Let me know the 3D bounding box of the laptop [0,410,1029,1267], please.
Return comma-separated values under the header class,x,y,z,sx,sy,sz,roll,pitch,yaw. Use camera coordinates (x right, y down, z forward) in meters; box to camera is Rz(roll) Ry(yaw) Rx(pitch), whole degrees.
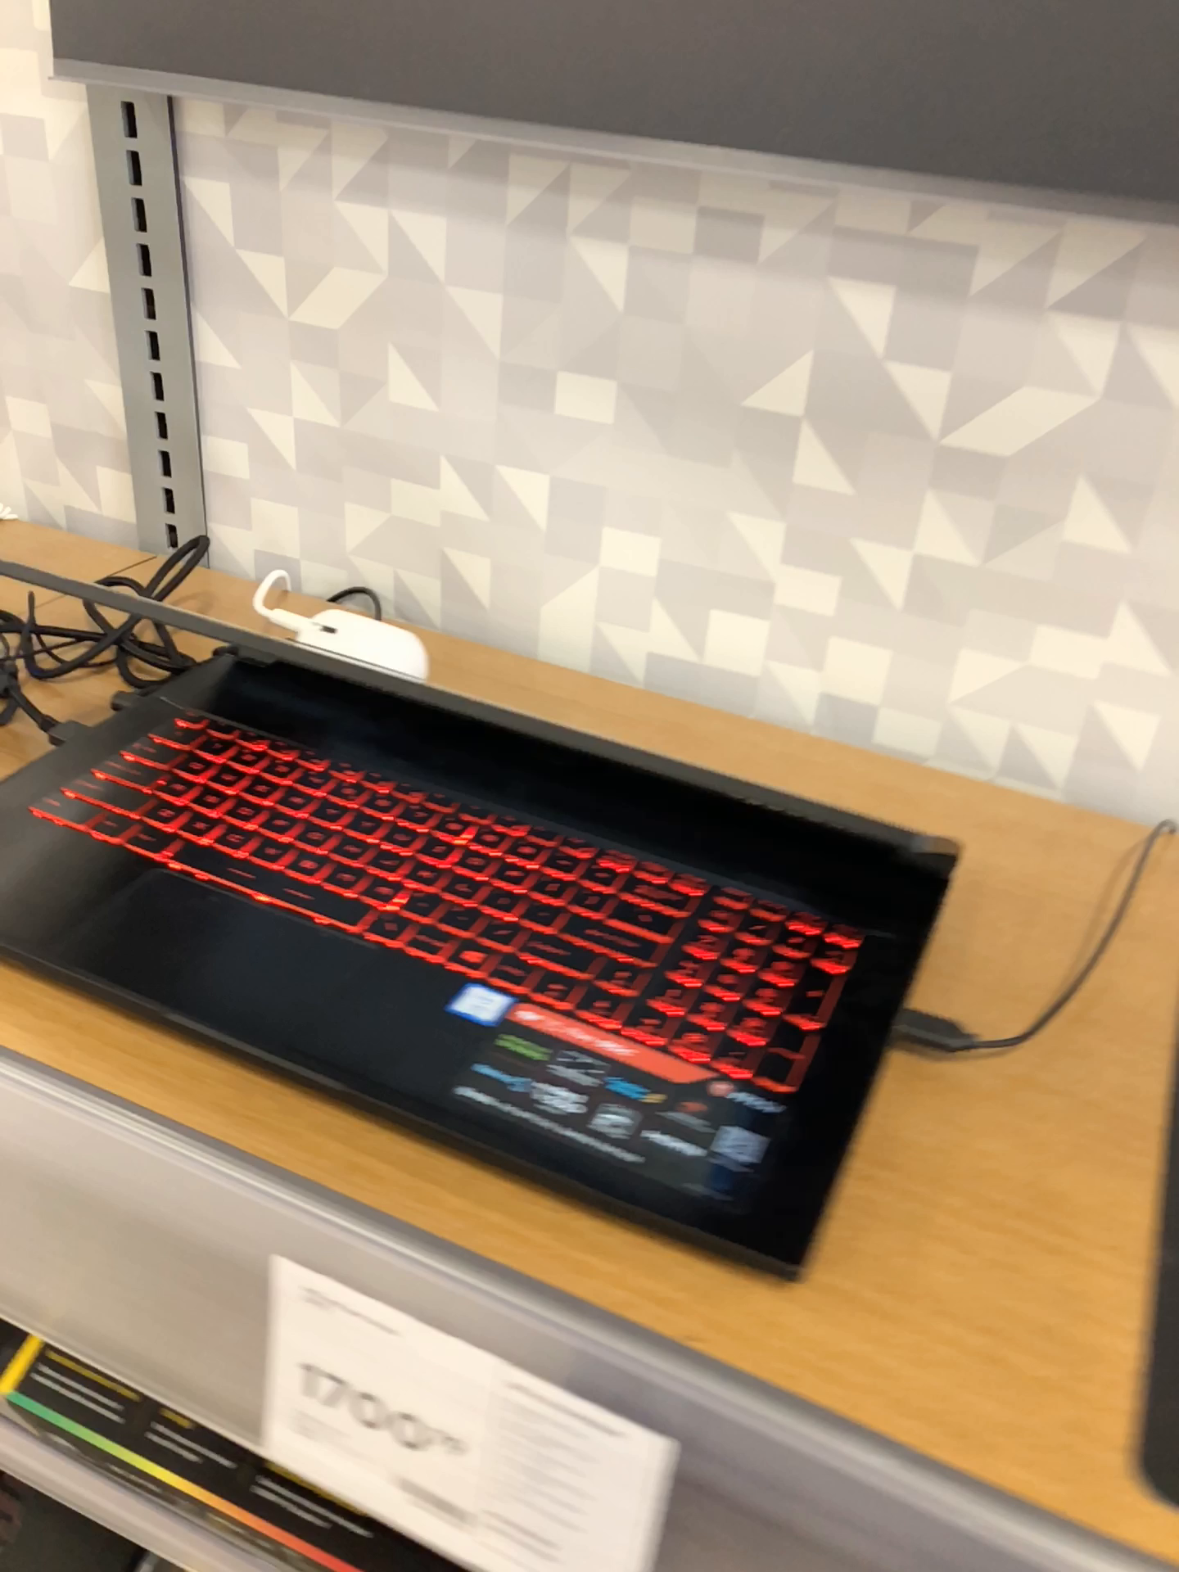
class,x,y,z,sx,sy,sz,roll,pitch,yaw
laptop,-0.059,-0.022,0.516,0.393,0.133,0.249,17,33,19
